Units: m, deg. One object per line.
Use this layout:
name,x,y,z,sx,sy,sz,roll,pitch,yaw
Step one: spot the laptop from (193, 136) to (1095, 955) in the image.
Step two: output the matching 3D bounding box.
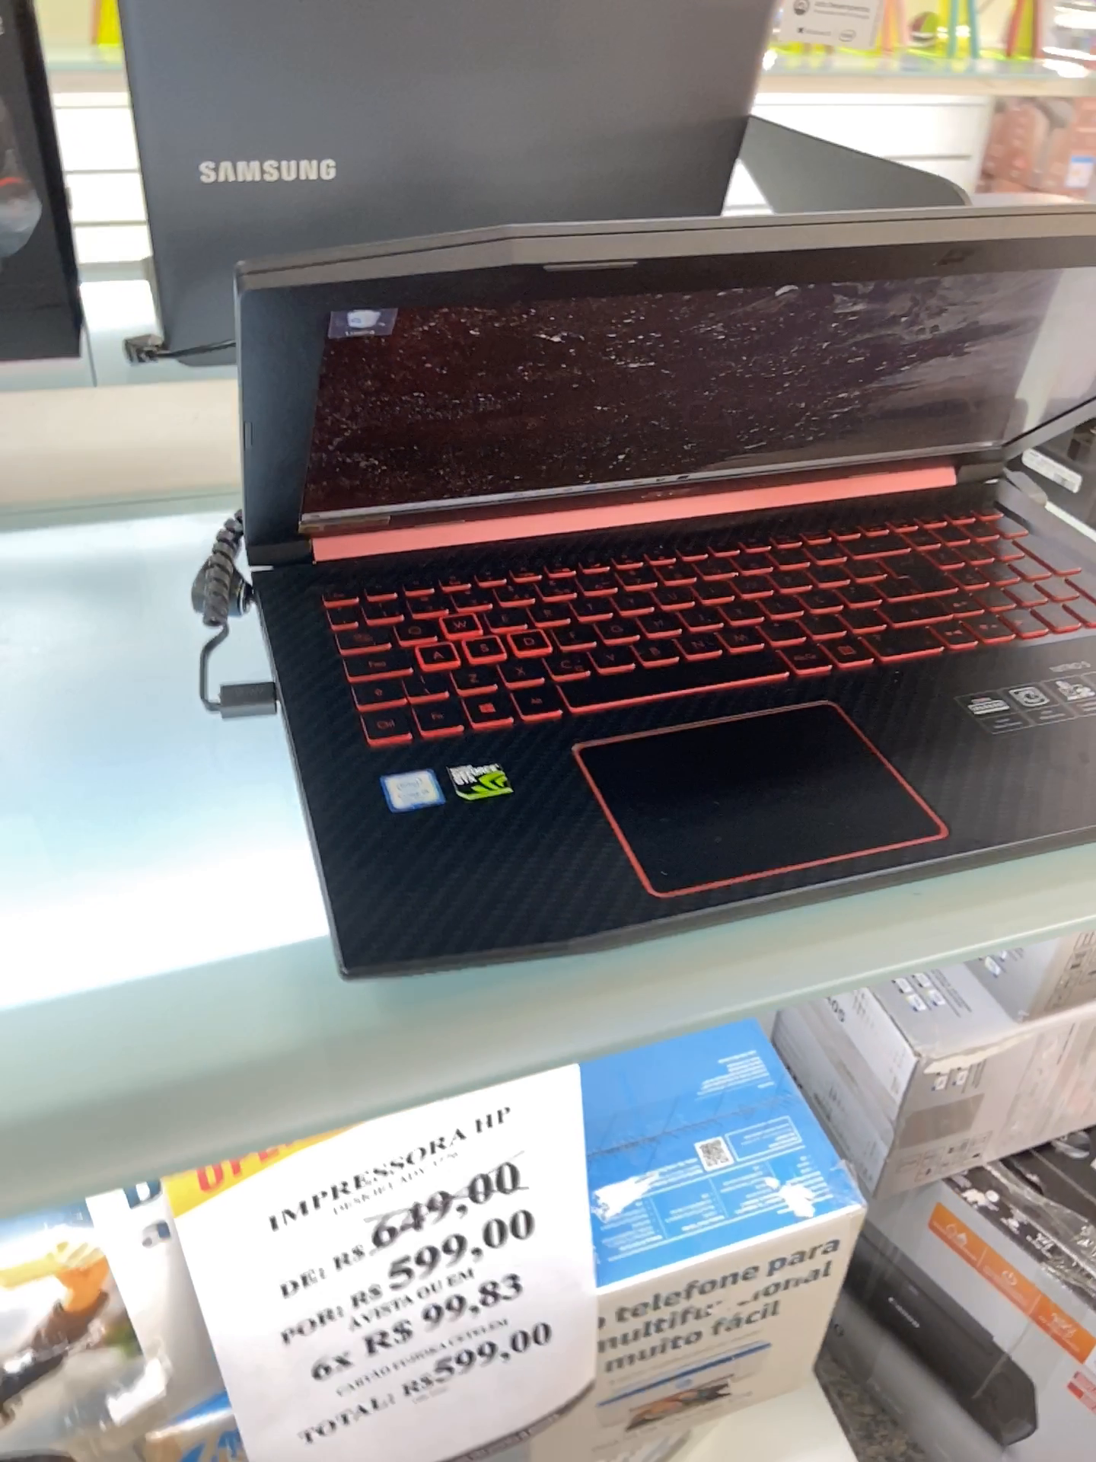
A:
laptop,0.089,-0.101,0.409,0.380,0.163,0.235,-10,37,-16
